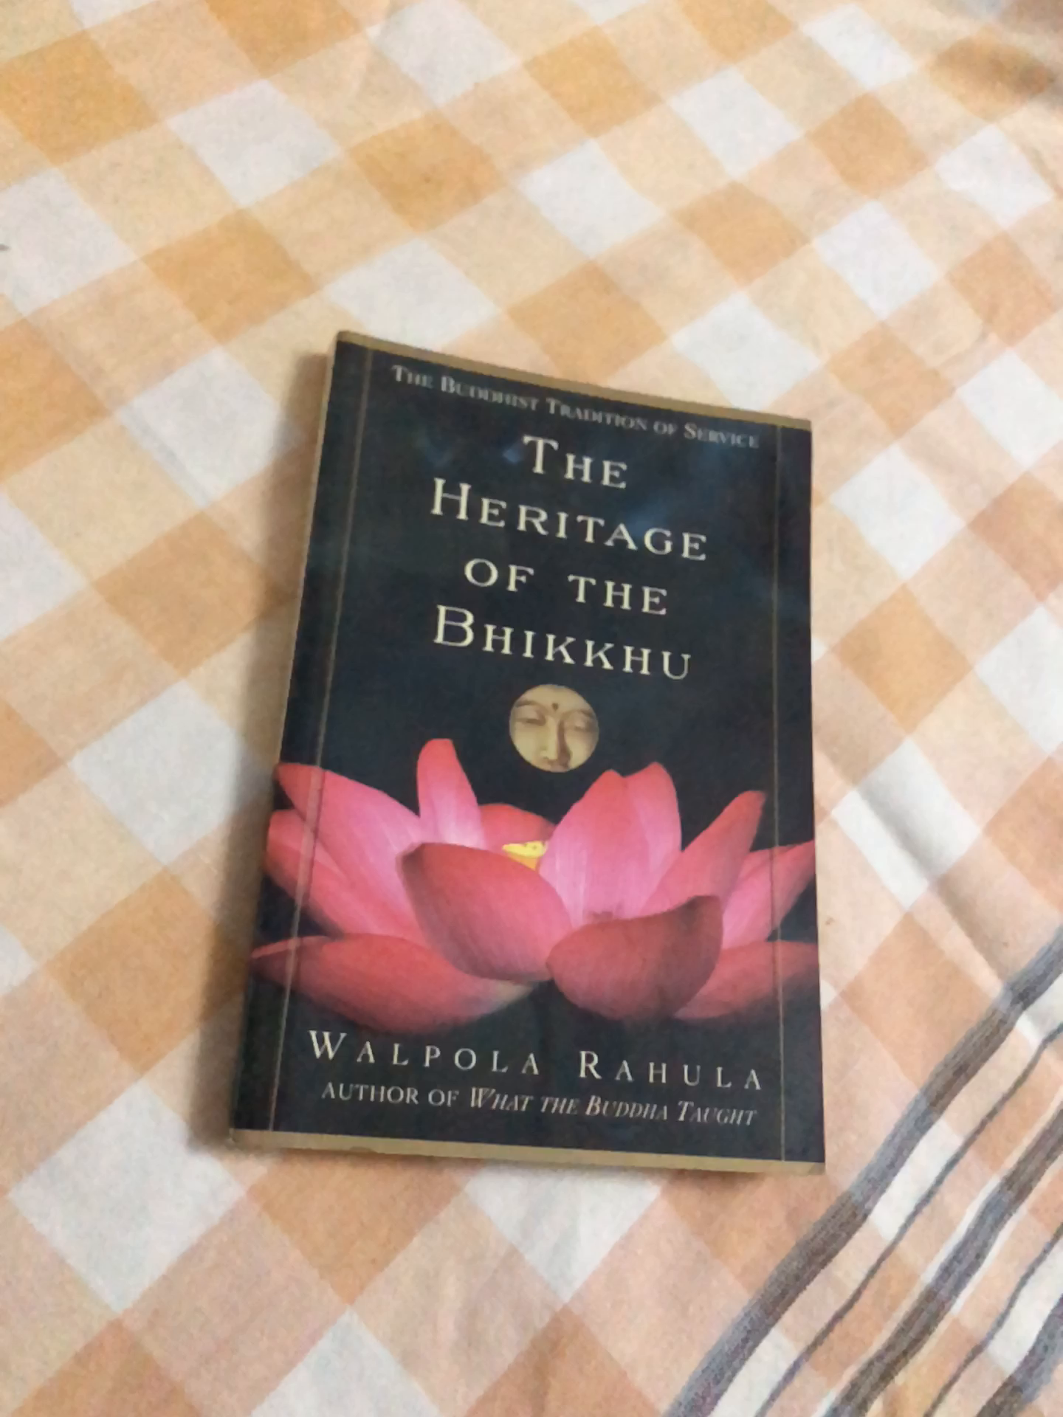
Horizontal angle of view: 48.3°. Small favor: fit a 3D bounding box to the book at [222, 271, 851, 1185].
[{"bbox_3d":[0.007,0.002,0.306,0.140,0.030,0.220,8,69,-15],"label":"book"}]
